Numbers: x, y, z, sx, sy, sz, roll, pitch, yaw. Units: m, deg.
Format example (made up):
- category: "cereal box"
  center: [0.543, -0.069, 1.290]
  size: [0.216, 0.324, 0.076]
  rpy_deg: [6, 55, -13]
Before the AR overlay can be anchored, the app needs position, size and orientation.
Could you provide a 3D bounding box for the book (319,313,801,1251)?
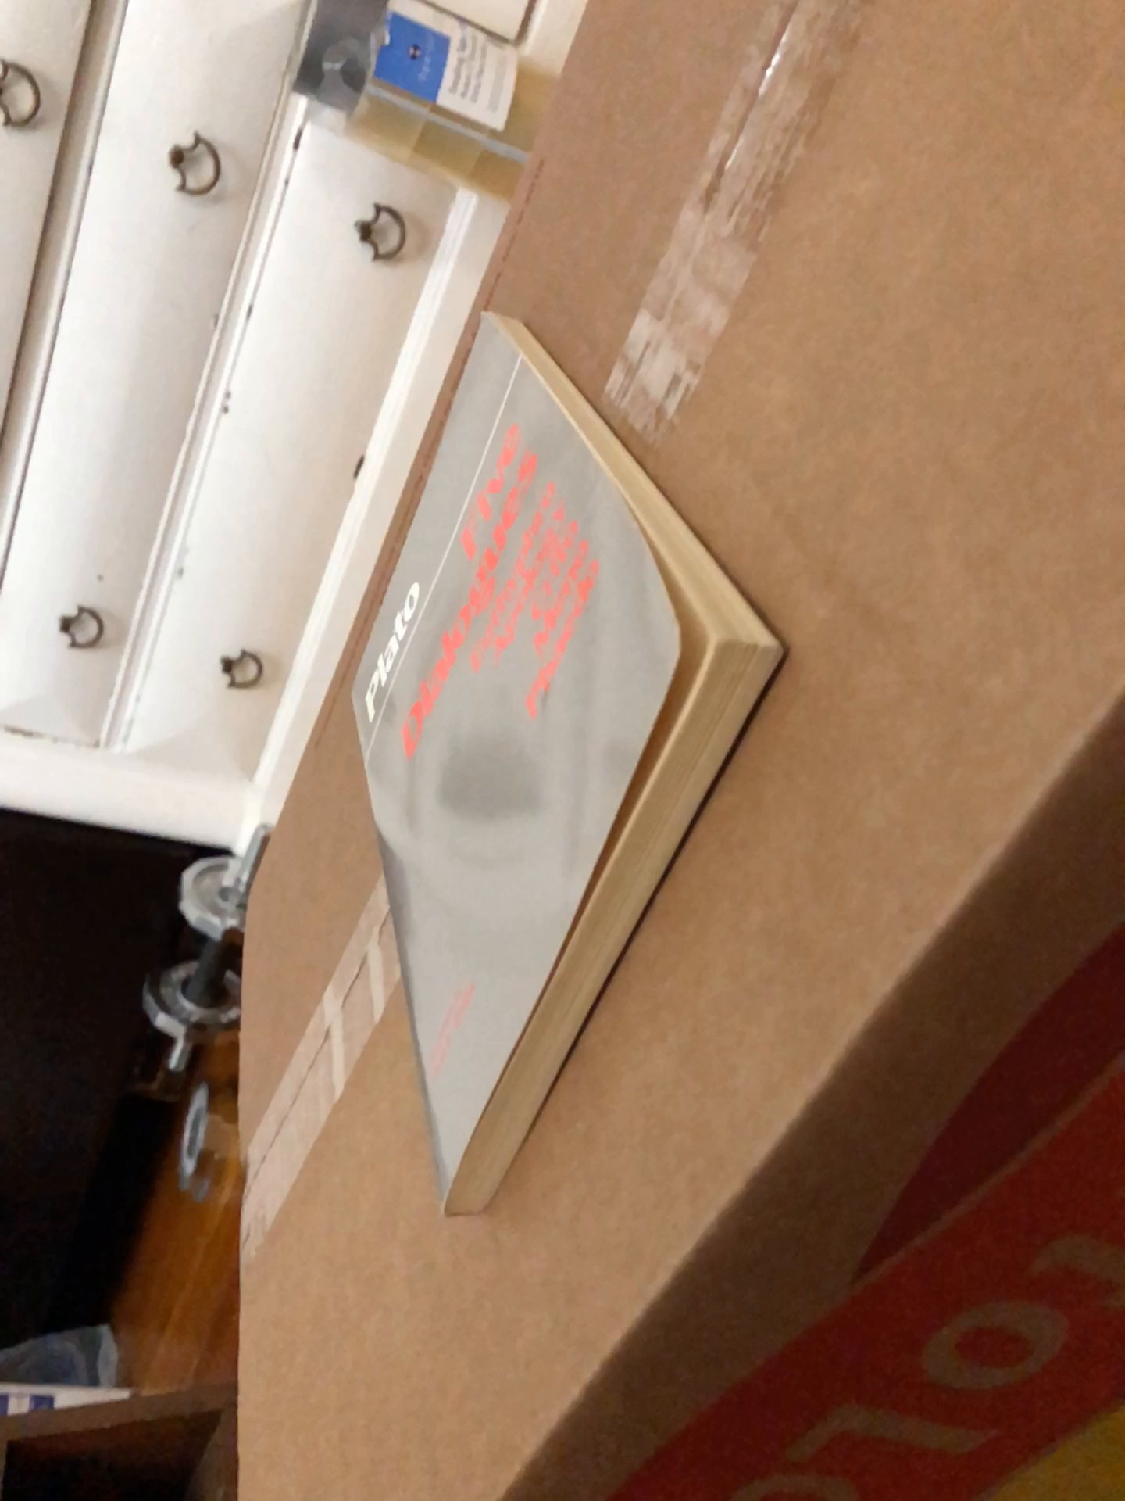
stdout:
- category: "book"
  center: [-0.023, -0.014, 0.314]
  size: [0.140, 0.020, 0.221]
  rpy_deg: [-66, 25, 24]
